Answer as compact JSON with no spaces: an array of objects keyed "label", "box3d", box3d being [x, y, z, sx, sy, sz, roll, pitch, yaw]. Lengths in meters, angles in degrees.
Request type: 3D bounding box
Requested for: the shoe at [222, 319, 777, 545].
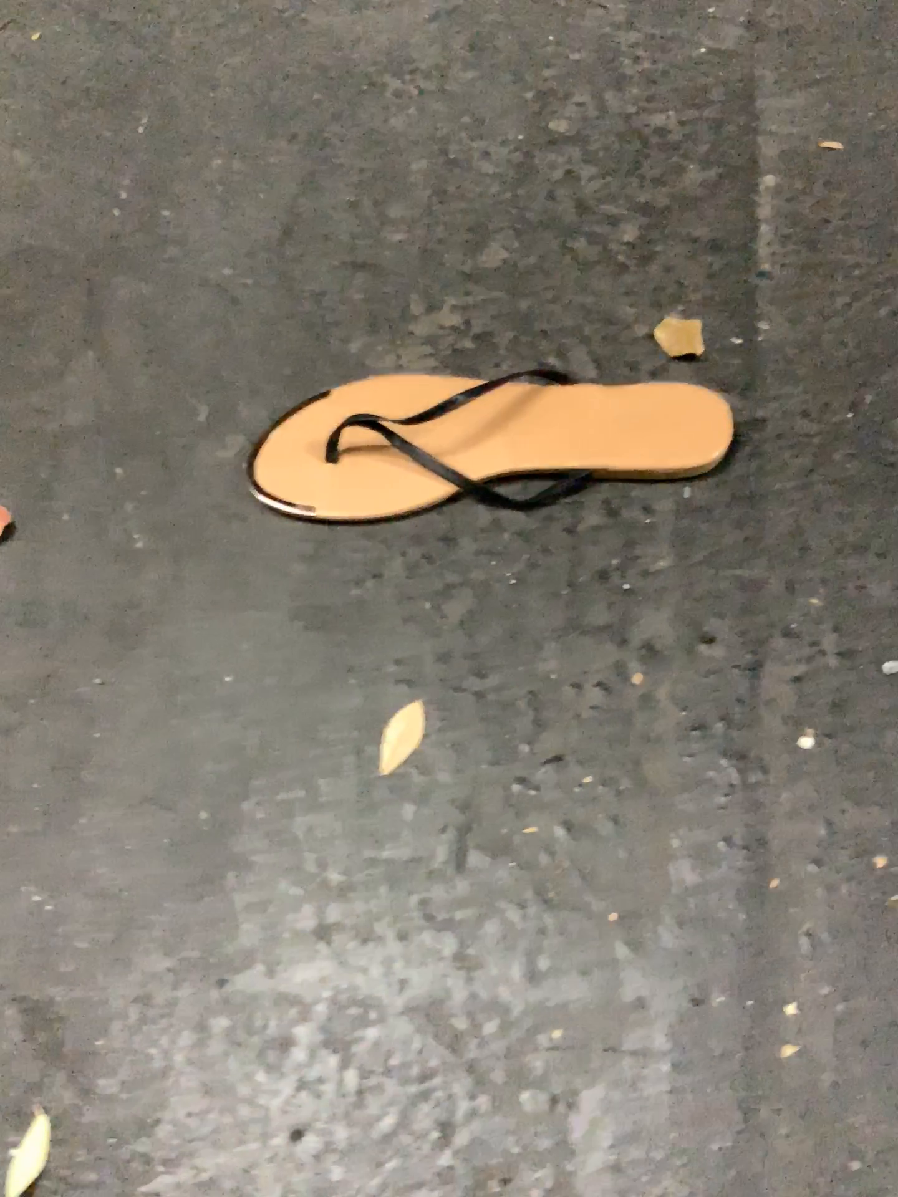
[{"label":"shoe","box3d":[0.024,-0.095,0.567,0.290,0.030,0.110,-4,58,4]}]
